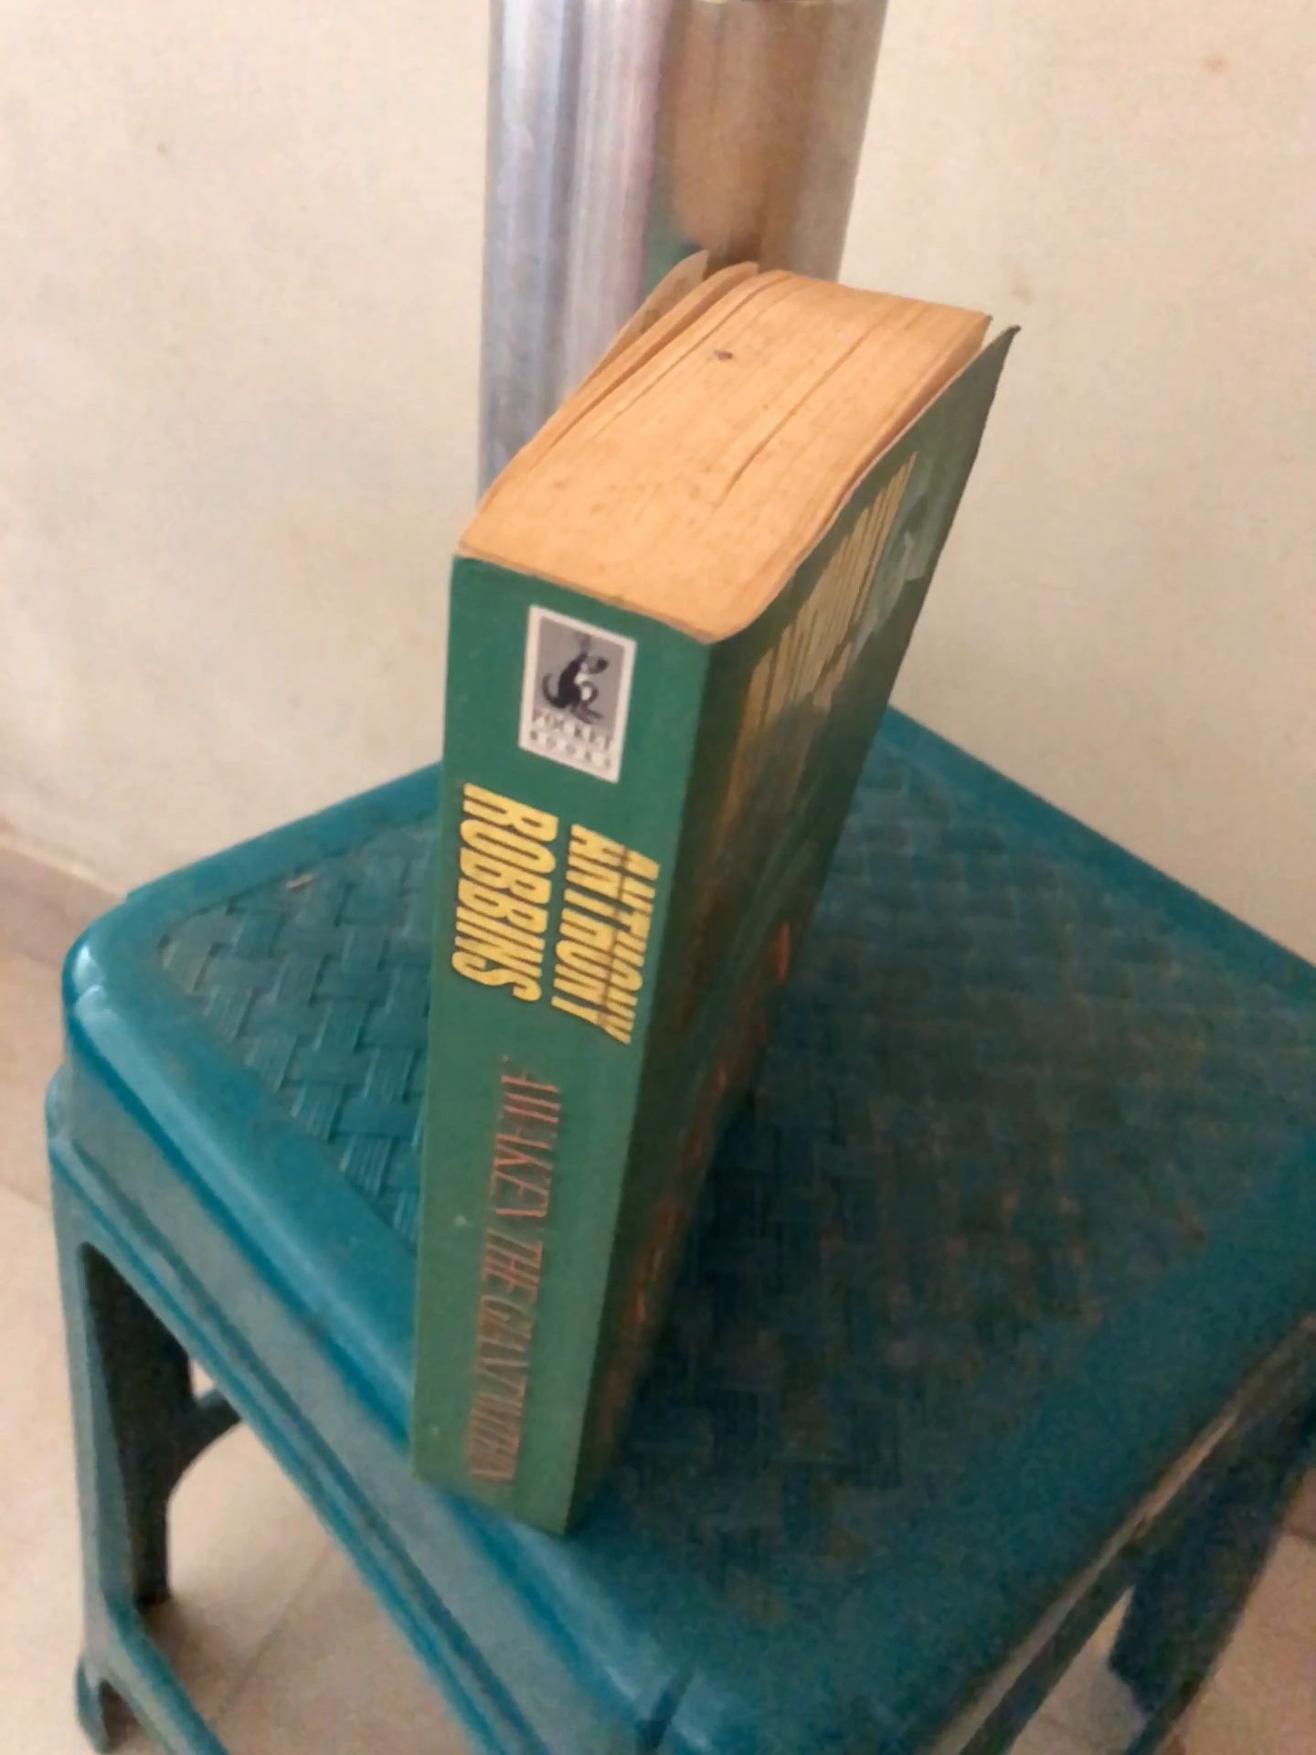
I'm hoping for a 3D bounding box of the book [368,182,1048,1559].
[{"bbox_3d":[0.007,0.003,0.265,0.050,0.199,0.141,18,42,11],"label":"book"}]
